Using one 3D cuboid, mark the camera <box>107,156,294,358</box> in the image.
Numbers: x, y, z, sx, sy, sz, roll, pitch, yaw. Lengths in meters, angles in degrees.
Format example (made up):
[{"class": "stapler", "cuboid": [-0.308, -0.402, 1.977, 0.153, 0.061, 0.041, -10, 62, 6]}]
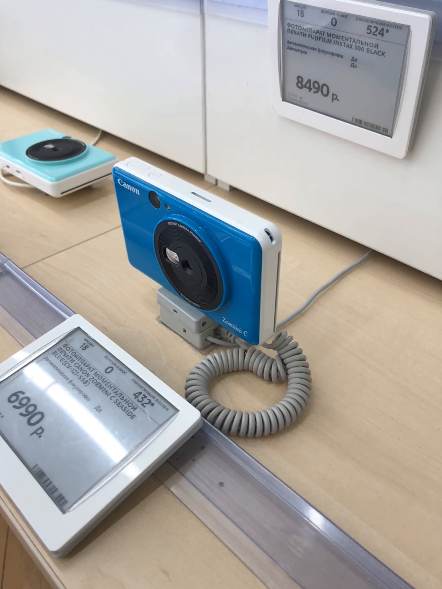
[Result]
[{"class": "camera", "cuboid": [-0.014, -0.025, 0.283, 0.025, 0.072, 0.120, -34, 49, -30]}]
